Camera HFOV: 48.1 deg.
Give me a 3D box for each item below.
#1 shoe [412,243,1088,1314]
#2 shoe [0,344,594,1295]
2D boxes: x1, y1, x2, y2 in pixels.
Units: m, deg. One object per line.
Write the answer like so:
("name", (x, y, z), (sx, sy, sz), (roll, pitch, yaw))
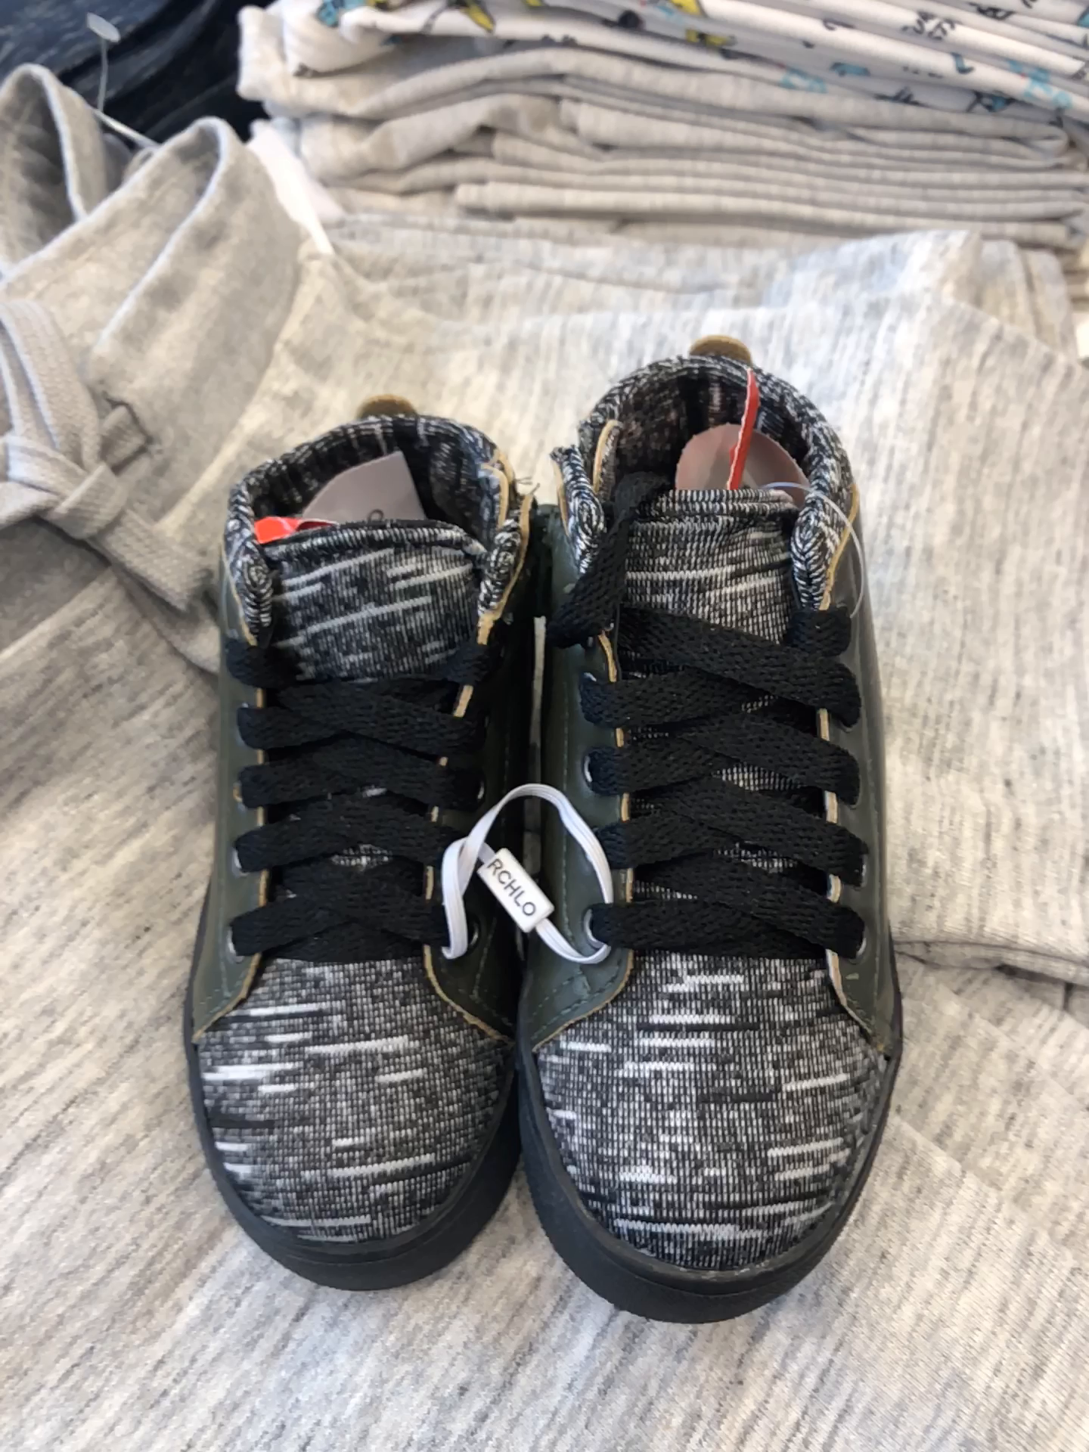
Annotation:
("shoe", (0.027, 0.007, 0.221), (0.080, 0.090, 0.171), (-1, 58, 2))
("shoe", (-0.033, 0.016, 0.239), (0.080, 0.090, 0.161), (1, 58, 4))
